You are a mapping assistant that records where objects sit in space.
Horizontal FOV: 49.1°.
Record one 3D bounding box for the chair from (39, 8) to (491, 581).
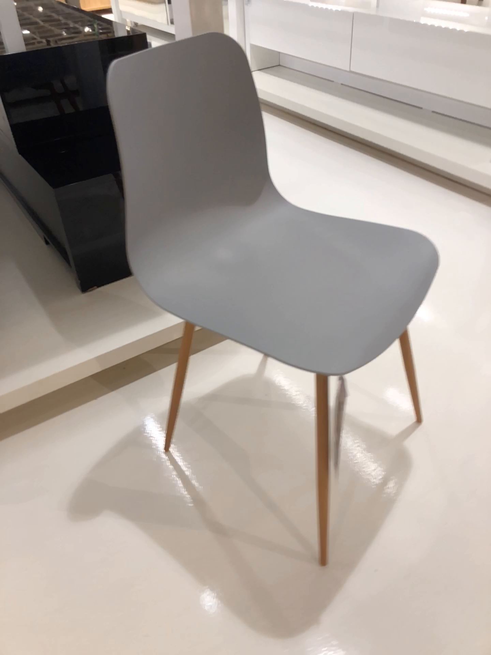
[{"bbox_3d":[0.077,-0.065,0.984,0.471,0.814,0.473,24,46,30],"label":"chair"}]
